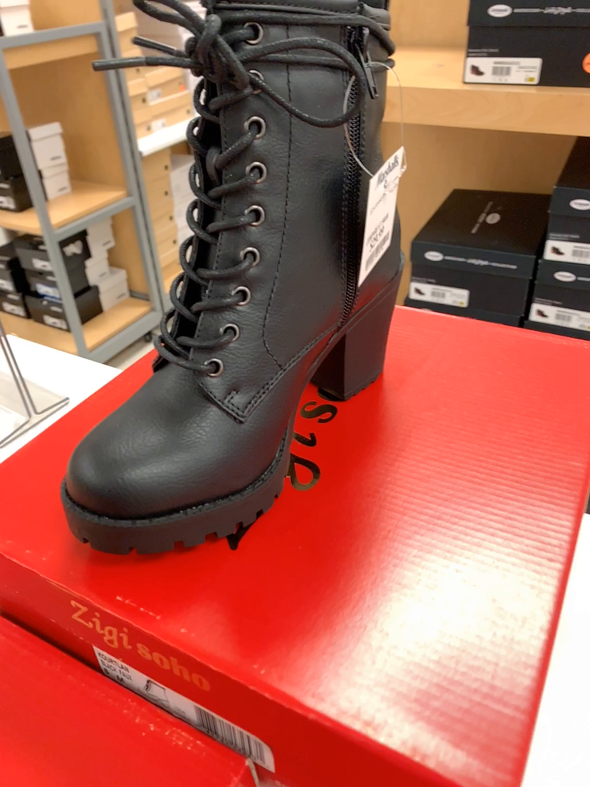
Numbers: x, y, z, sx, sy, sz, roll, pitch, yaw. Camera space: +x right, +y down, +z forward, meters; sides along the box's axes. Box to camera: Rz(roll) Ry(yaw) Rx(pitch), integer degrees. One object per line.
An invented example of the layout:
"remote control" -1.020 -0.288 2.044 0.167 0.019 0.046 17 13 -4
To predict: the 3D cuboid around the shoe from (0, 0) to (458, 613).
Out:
"shoe" -0.030 -0.060 0.265 0.092 0.203 0.201 24 44 33
